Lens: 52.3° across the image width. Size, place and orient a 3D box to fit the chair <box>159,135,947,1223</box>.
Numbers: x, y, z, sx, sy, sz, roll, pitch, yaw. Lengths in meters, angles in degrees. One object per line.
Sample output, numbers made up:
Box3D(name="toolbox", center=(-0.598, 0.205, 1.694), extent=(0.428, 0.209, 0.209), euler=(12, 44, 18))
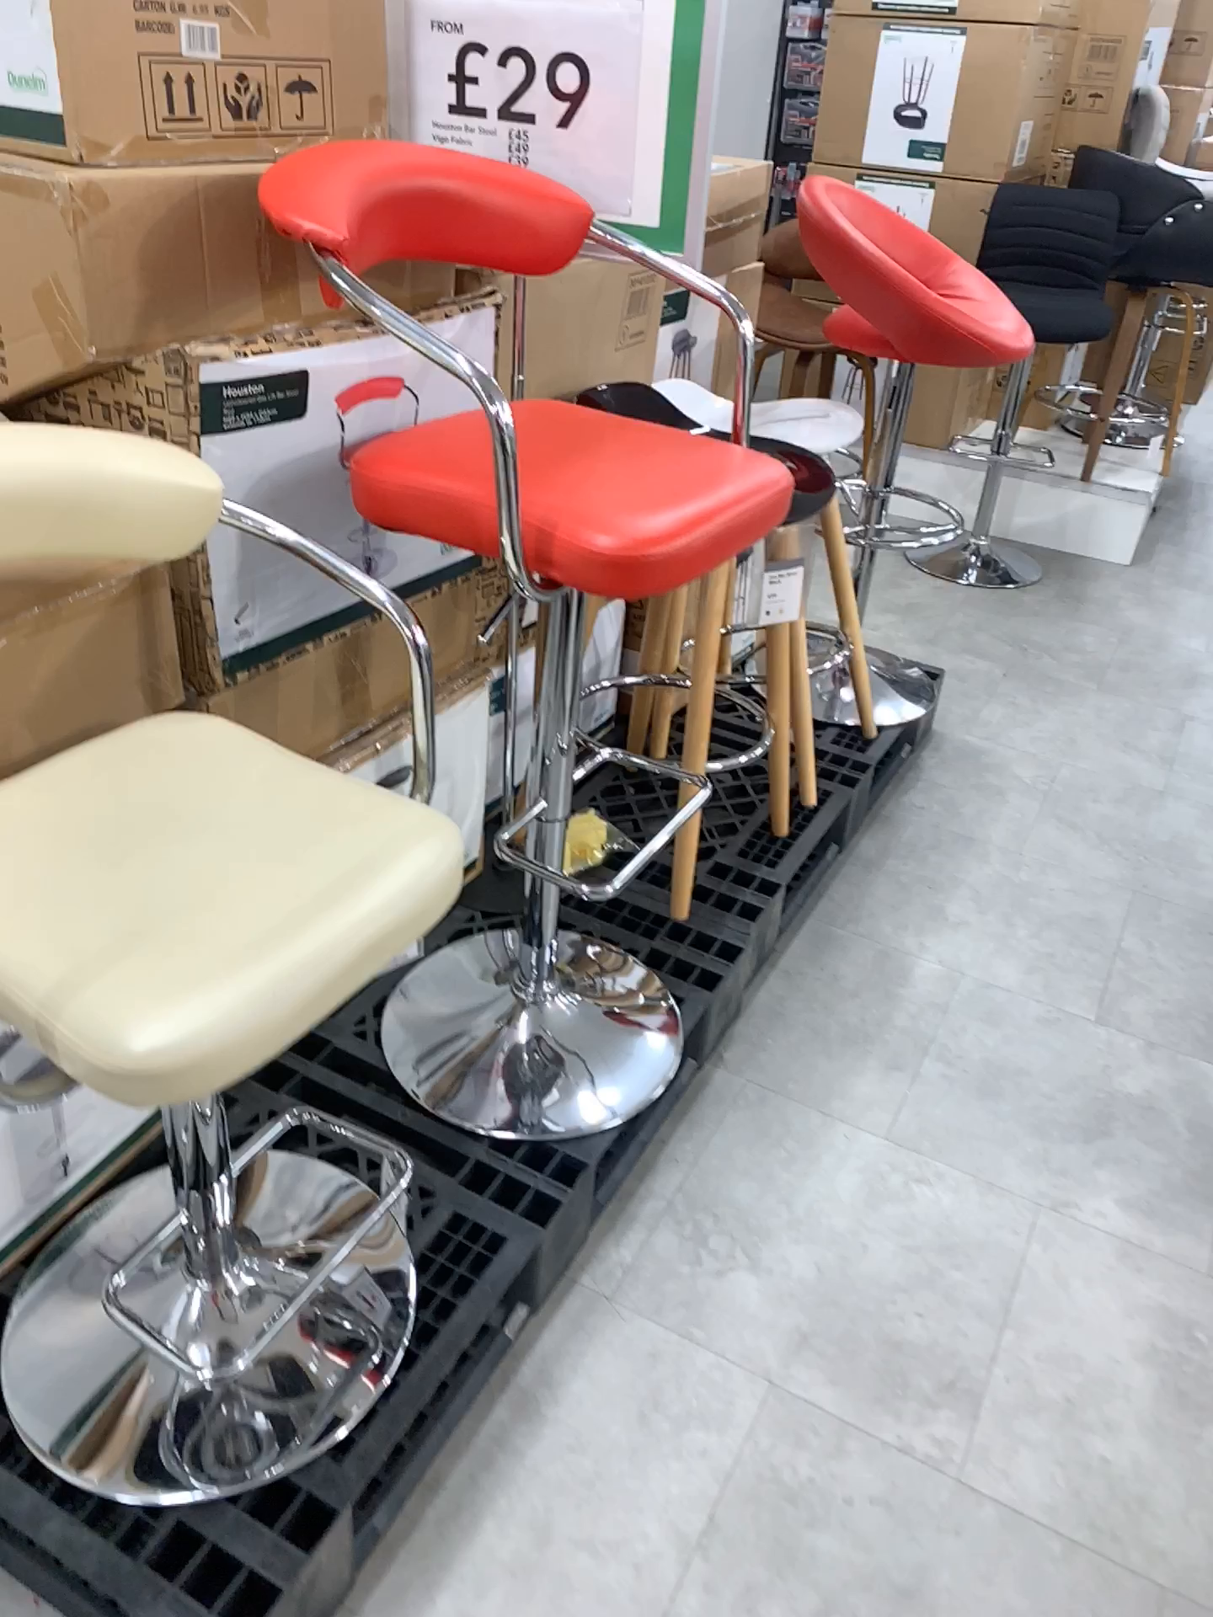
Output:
Box3D(name="chair", center=(-0.051, -0.165, 1.379), extent=(0.529, 0.977, 0.529), euler=(18, 34, 21))

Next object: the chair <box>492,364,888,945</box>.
Box3D(name="chair", center=(0.114, -0.251, 1.908), extent=(0.389, 0.709, 0.428), euler=(20, 34, 22))

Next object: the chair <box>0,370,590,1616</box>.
Box3D(name="chair", center=(-0.360, 0.141, 1.057), extent=(0.459, 0.838, 0.499), euler=(18, 34, 21))
